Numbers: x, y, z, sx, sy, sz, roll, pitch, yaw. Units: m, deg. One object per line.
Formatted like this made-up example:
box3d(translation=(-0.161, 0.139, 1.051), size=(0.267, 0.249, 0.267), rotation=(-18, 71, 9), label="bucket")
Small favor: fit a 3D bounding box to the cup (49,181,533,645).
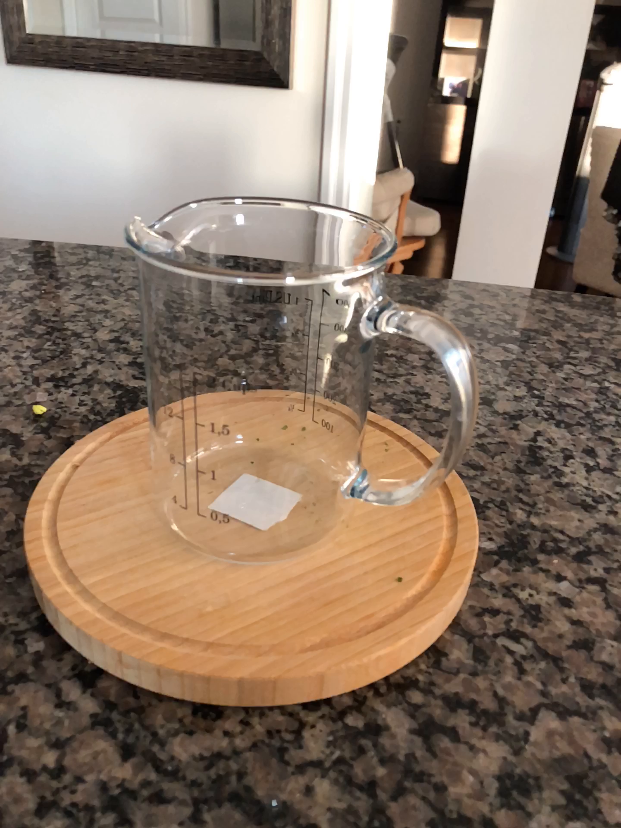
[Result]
box3d(translation=(-0.006, -0.013, 0.290), size=(0.150, 0.128, 0.106), rotation=(17, 32, 22), label="cup")
